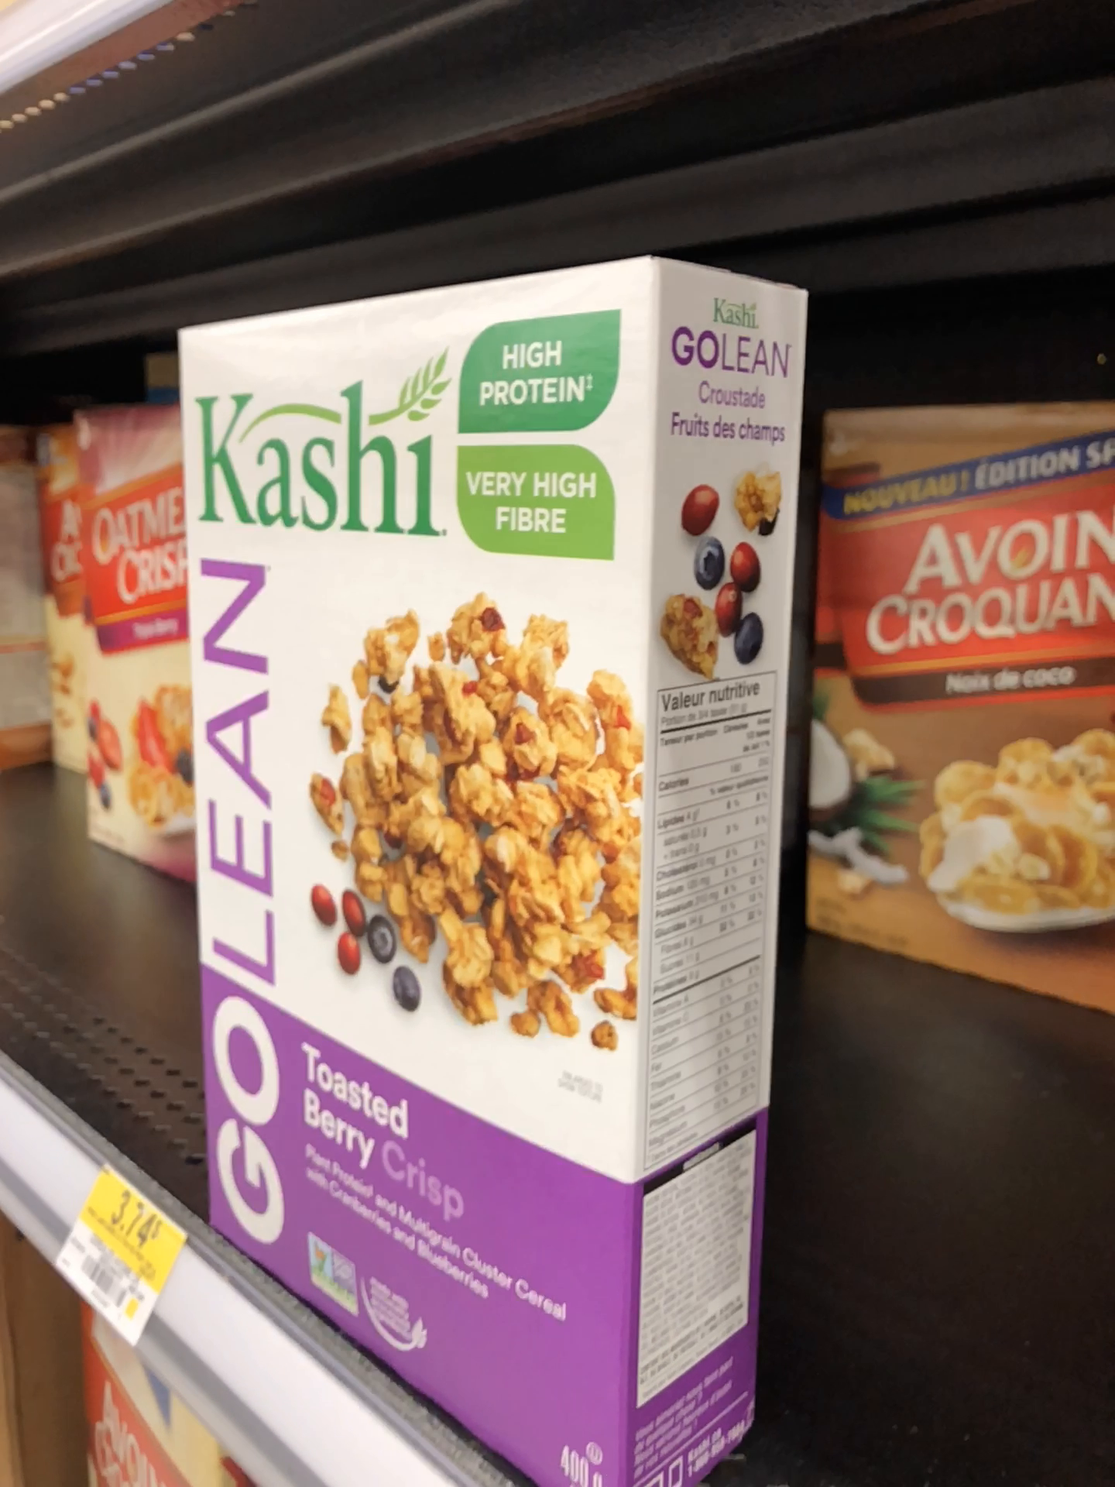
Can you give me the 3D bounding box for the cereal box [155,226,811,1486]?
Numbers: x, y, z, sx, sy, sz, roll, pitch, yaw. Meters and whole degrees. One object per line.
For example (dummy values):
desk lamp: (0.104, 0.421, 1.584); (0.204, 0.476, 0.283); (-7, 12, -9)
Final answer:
cereal box: (-0.029, 0.027, 0.314); (0.170, 0.269, 0.050); (11, 15, 43)
